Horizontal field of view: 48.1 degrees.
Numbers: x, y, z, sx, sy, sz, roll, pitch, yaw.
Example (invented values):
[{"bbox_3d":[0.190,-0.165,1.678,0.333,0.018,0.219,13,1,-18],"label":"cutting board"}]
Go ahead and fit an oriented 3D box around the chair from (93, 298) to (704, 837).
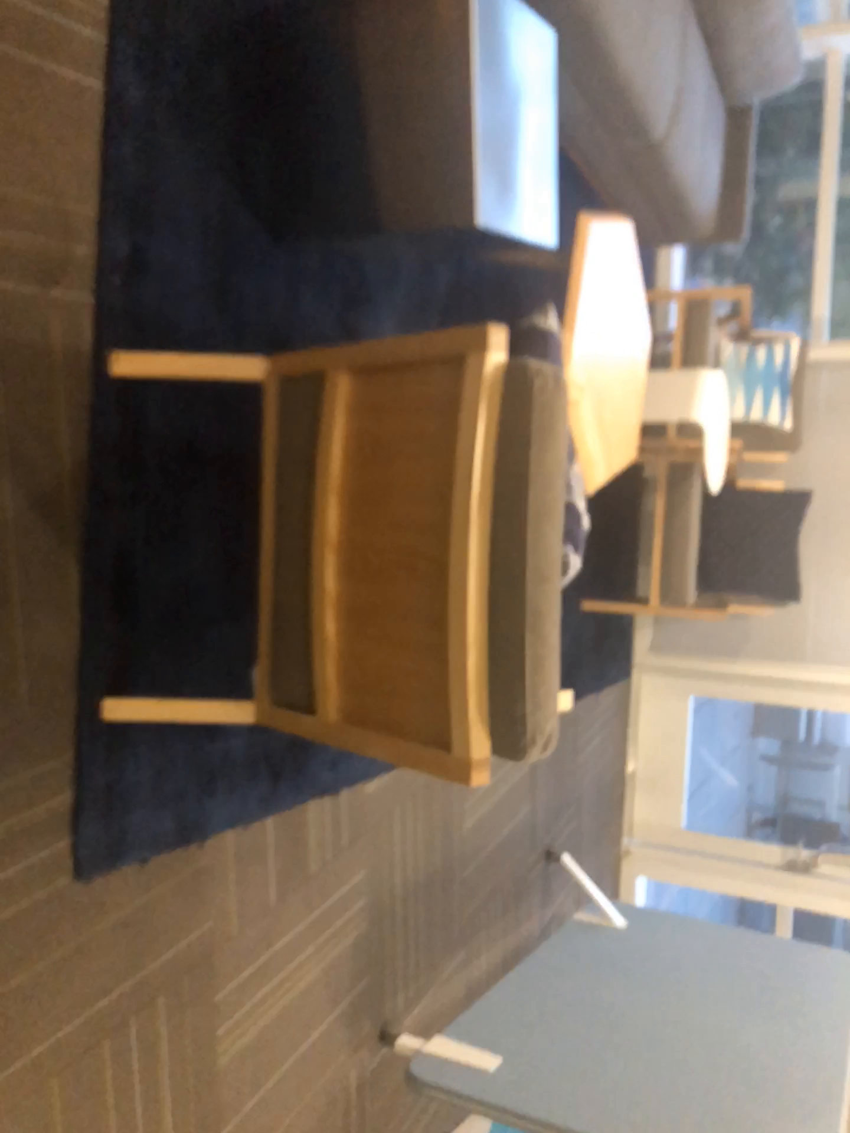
[{"bbox_3d":[0.017,-0.018,1.725,0.836,0.774,0.670,0,93,-64],"label":"chair"}]
